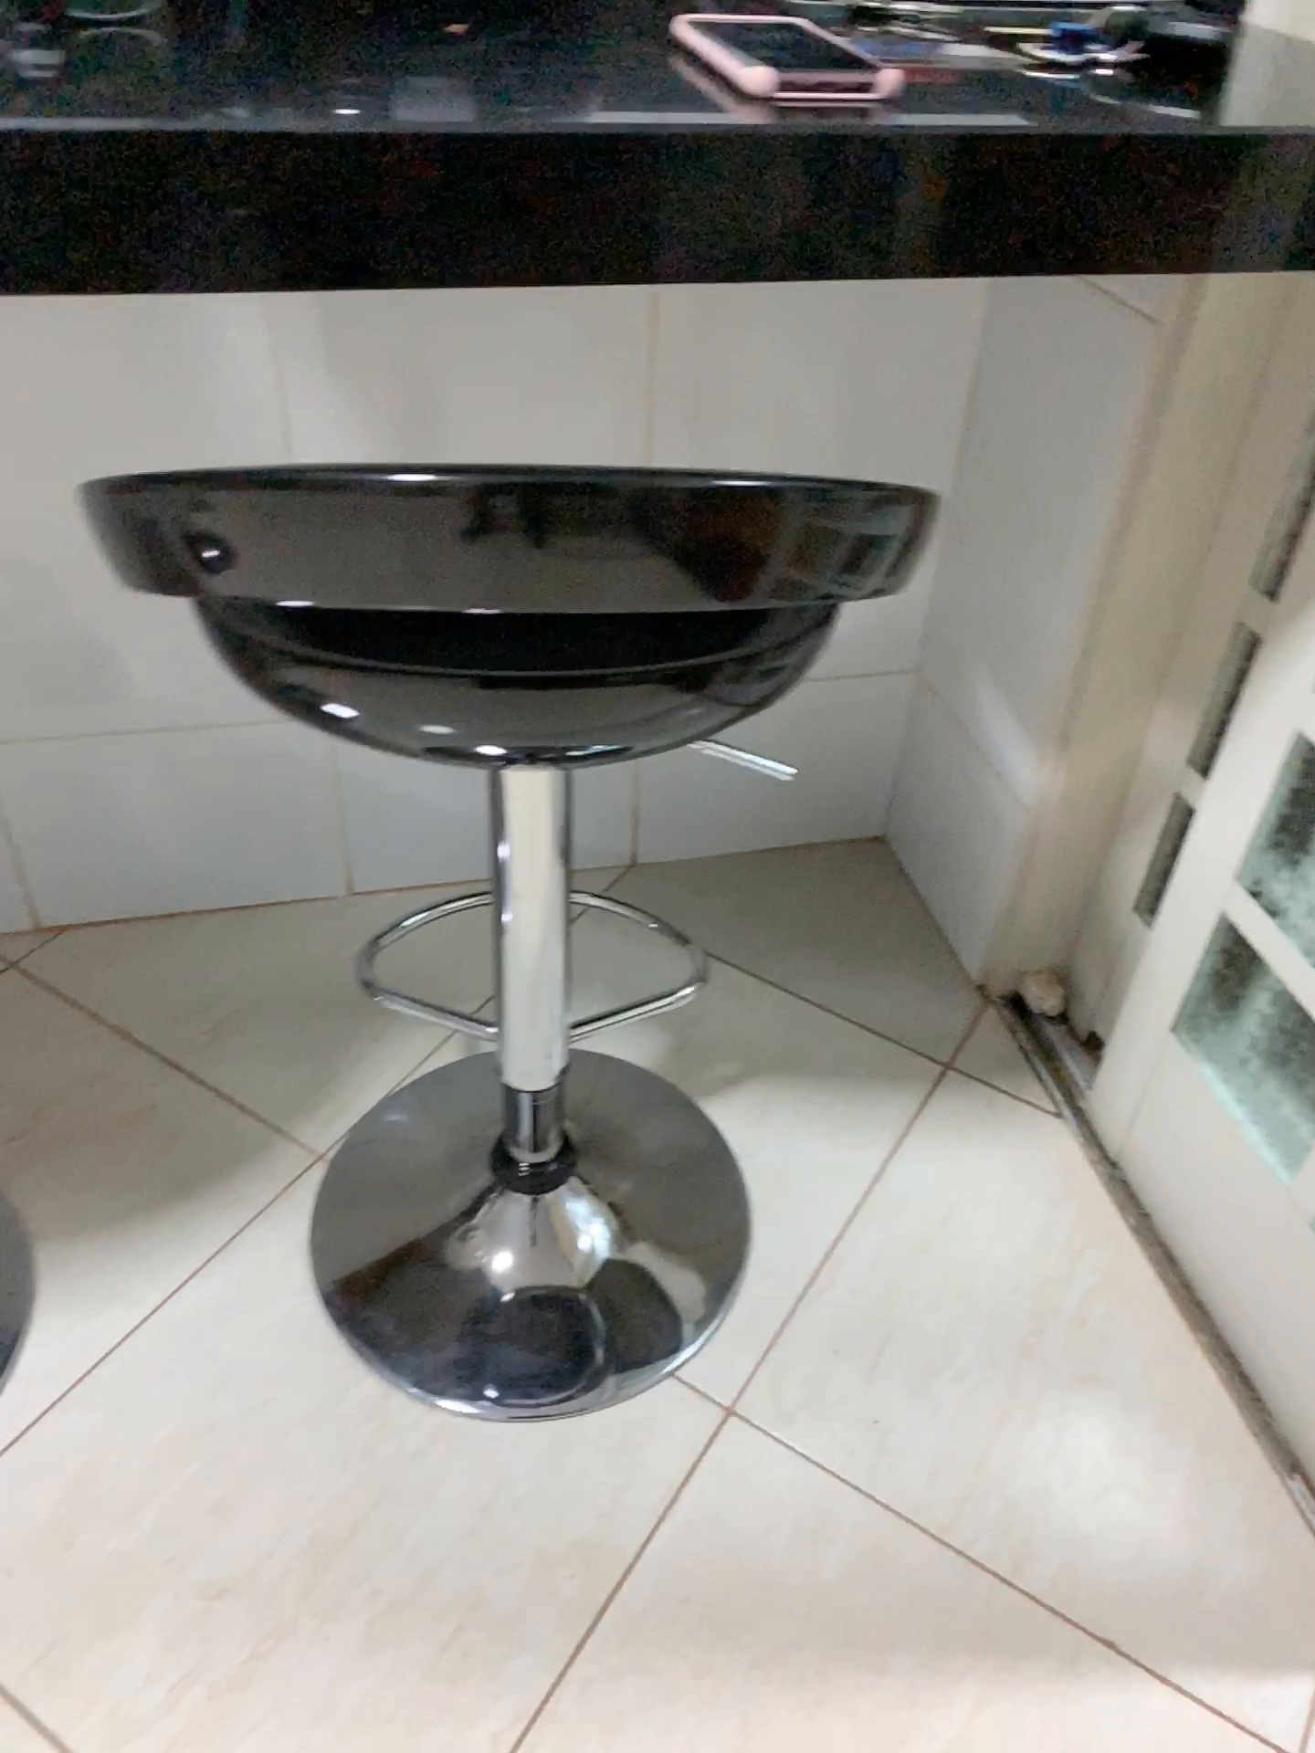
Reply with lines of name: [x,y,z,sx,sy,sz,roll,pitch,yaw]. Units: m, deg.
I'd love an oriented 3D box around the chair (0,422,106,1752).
chair: [-0.686,0.125,0.816,0.511,0.634,0.414,-7,40,-13]

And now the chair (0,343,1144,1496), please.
chair: [-0.079,0.031,0.960,0.520,0.664,0.444,-3,39,-8]
